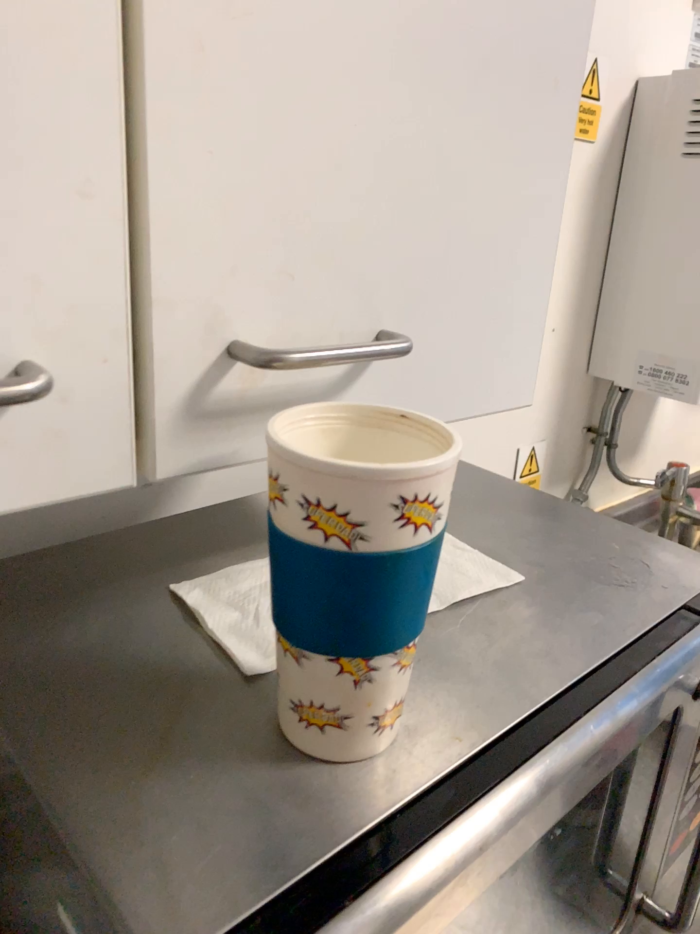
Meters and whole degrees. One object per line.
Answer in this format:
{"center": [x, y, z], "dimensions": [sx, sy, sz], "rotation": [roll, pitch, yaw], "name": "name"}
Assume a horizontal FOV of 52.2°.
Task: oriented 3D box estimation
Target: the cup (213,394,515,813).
{"center": [0.002, 0.053, 0.340], "dimensions": [0.093, 0.146, 0.097], "rotation": [3, 19, -1], "name": "cup"}
